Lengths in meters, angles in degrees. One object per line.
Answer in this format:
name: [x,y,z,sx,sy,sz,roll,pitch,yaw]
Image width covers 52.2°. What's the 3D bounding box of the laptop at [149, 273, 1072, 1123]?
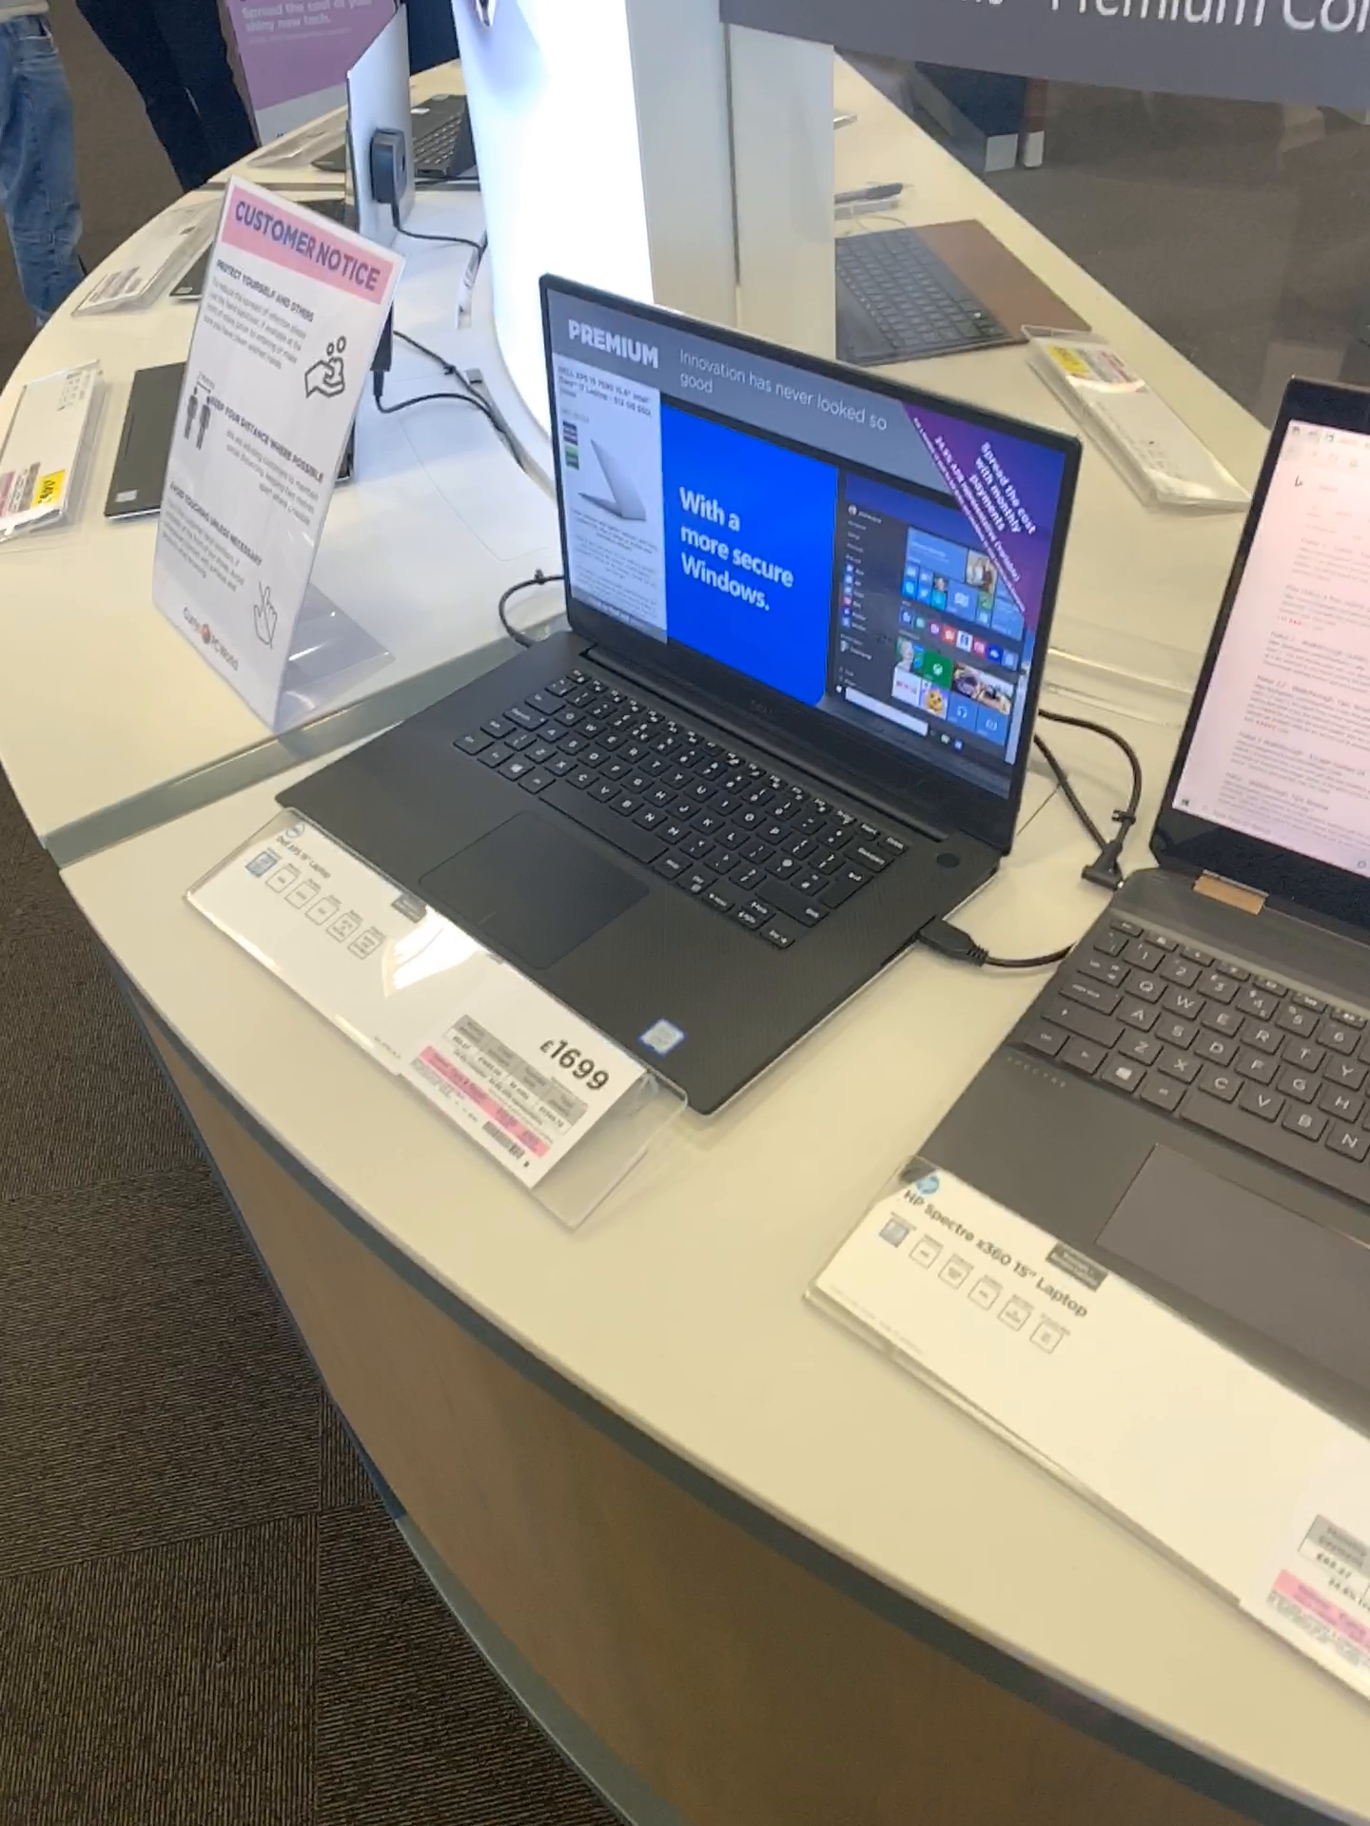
laptop: [-0.036,-0.134,0.711,0.352,0.224,0.254,32,55,33]
